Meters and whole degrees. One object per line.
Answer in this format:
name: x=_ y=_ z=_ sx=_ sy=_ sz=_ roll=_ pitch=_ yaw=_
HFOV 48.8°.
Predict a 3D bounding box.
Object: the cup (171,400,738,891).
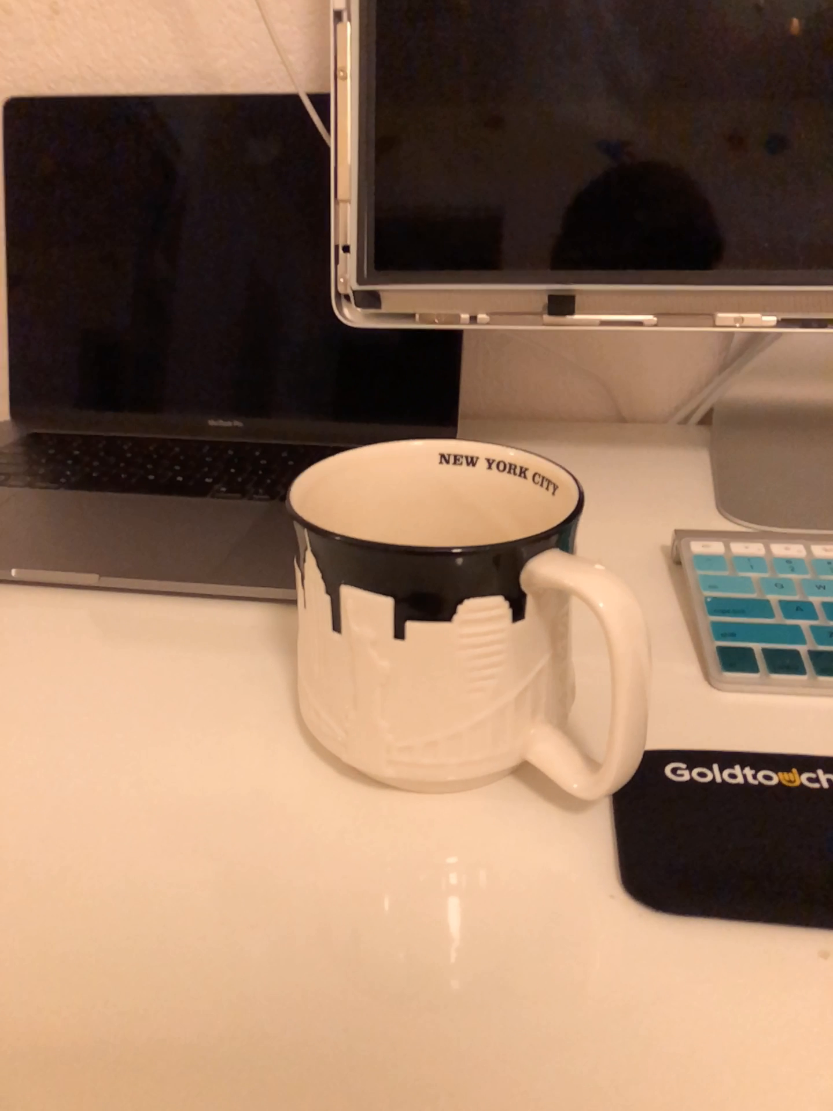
cup: x=0.012 y=0.015 z=0.321 sx=0.150 sy=0.090 sz=0.110 roll=18 pitch=32 yaw=34
